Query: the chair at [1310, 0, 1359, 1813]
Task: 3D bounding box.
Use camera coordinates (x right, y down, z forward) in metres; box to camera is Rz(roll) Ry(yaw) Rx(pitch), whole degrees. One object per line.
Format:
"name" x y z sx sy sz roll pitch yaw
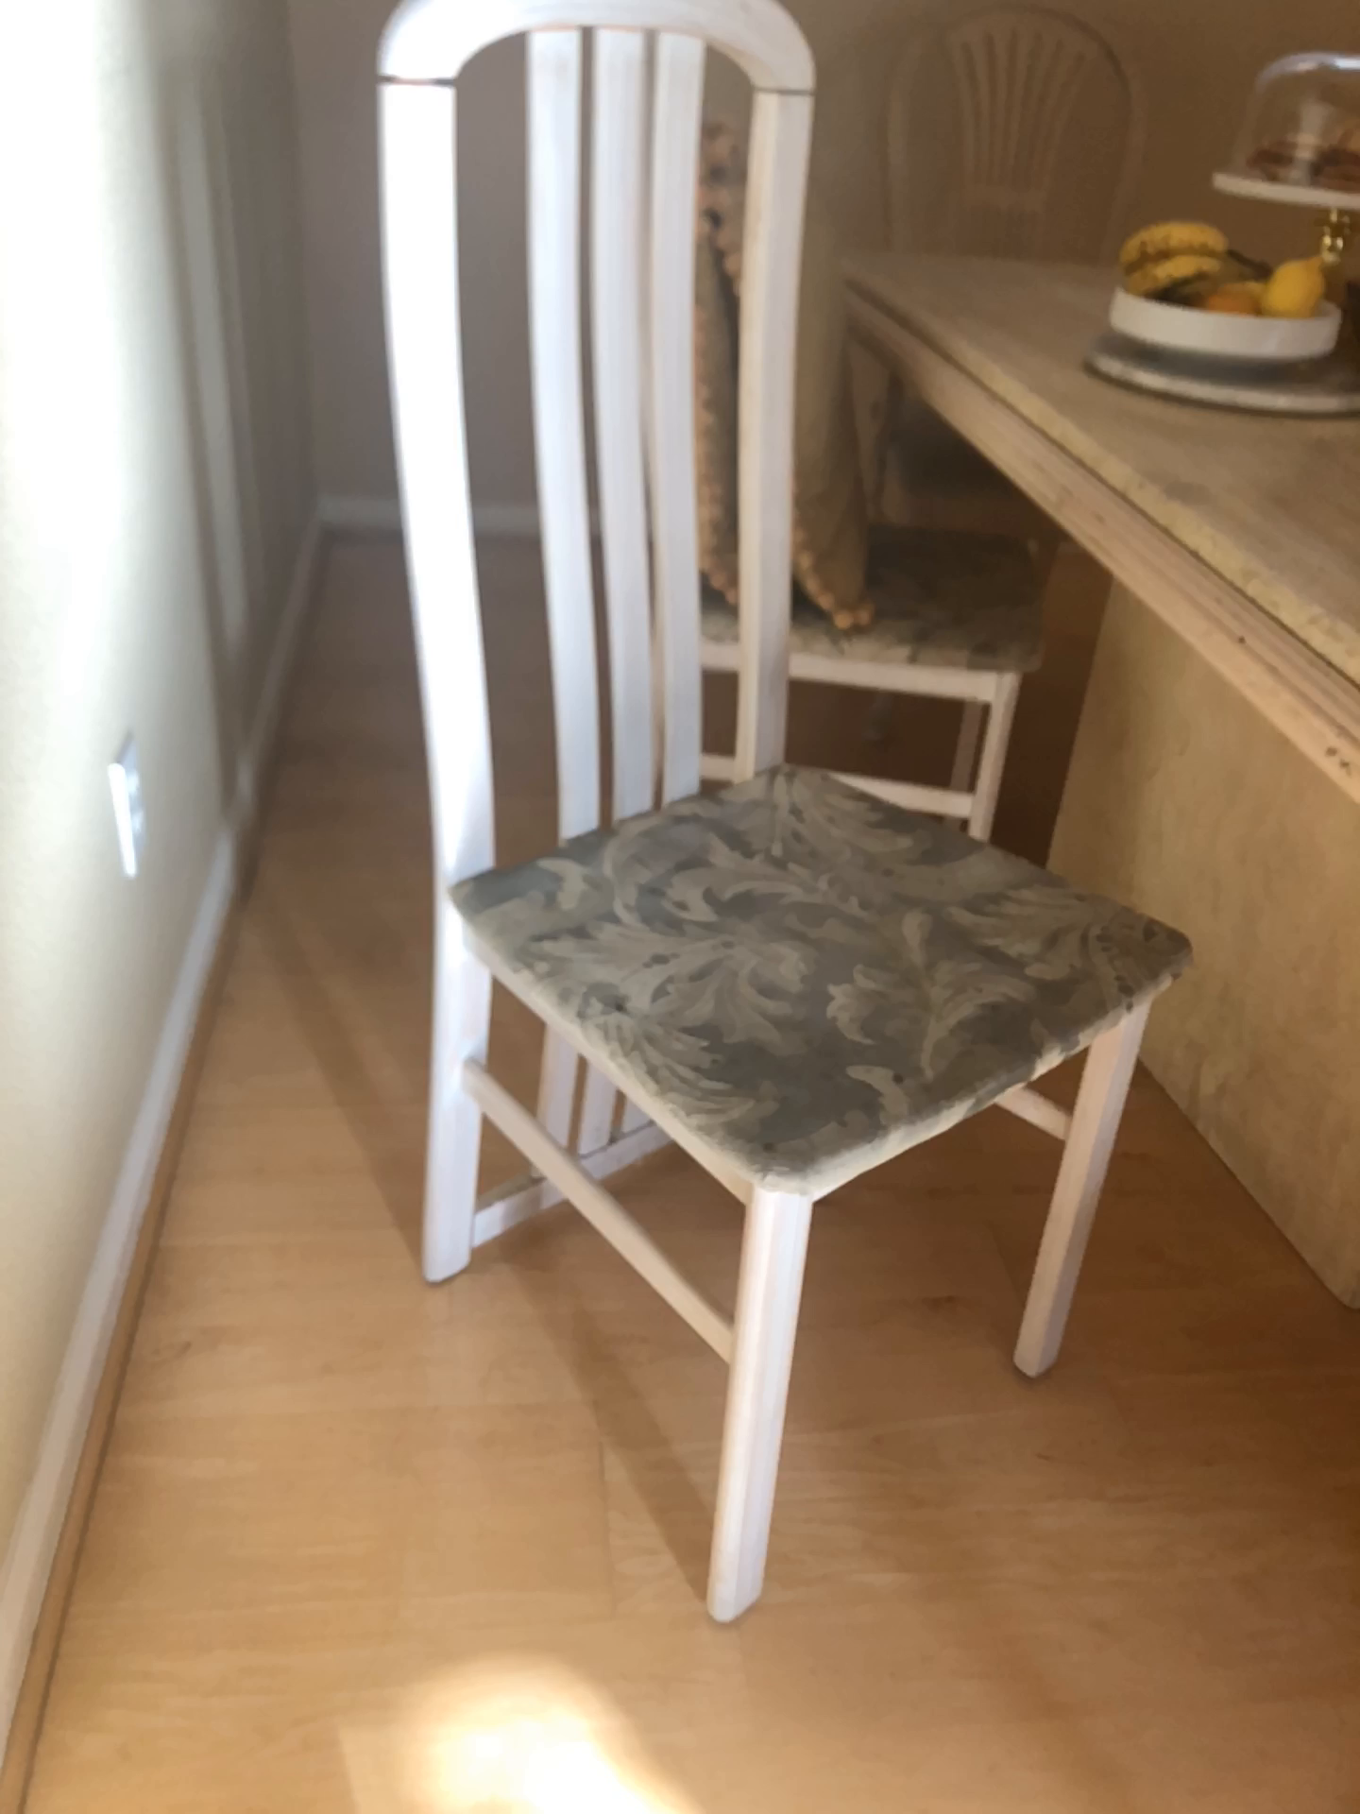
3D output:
"chair" 0.807 0.383 0.509 0.631 1.288 0.595 24 36 25

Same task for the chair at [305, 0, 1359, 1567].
"chair" 0.126 -0.218 1.519 0.634 1.447 0.672 -20 36 -34
